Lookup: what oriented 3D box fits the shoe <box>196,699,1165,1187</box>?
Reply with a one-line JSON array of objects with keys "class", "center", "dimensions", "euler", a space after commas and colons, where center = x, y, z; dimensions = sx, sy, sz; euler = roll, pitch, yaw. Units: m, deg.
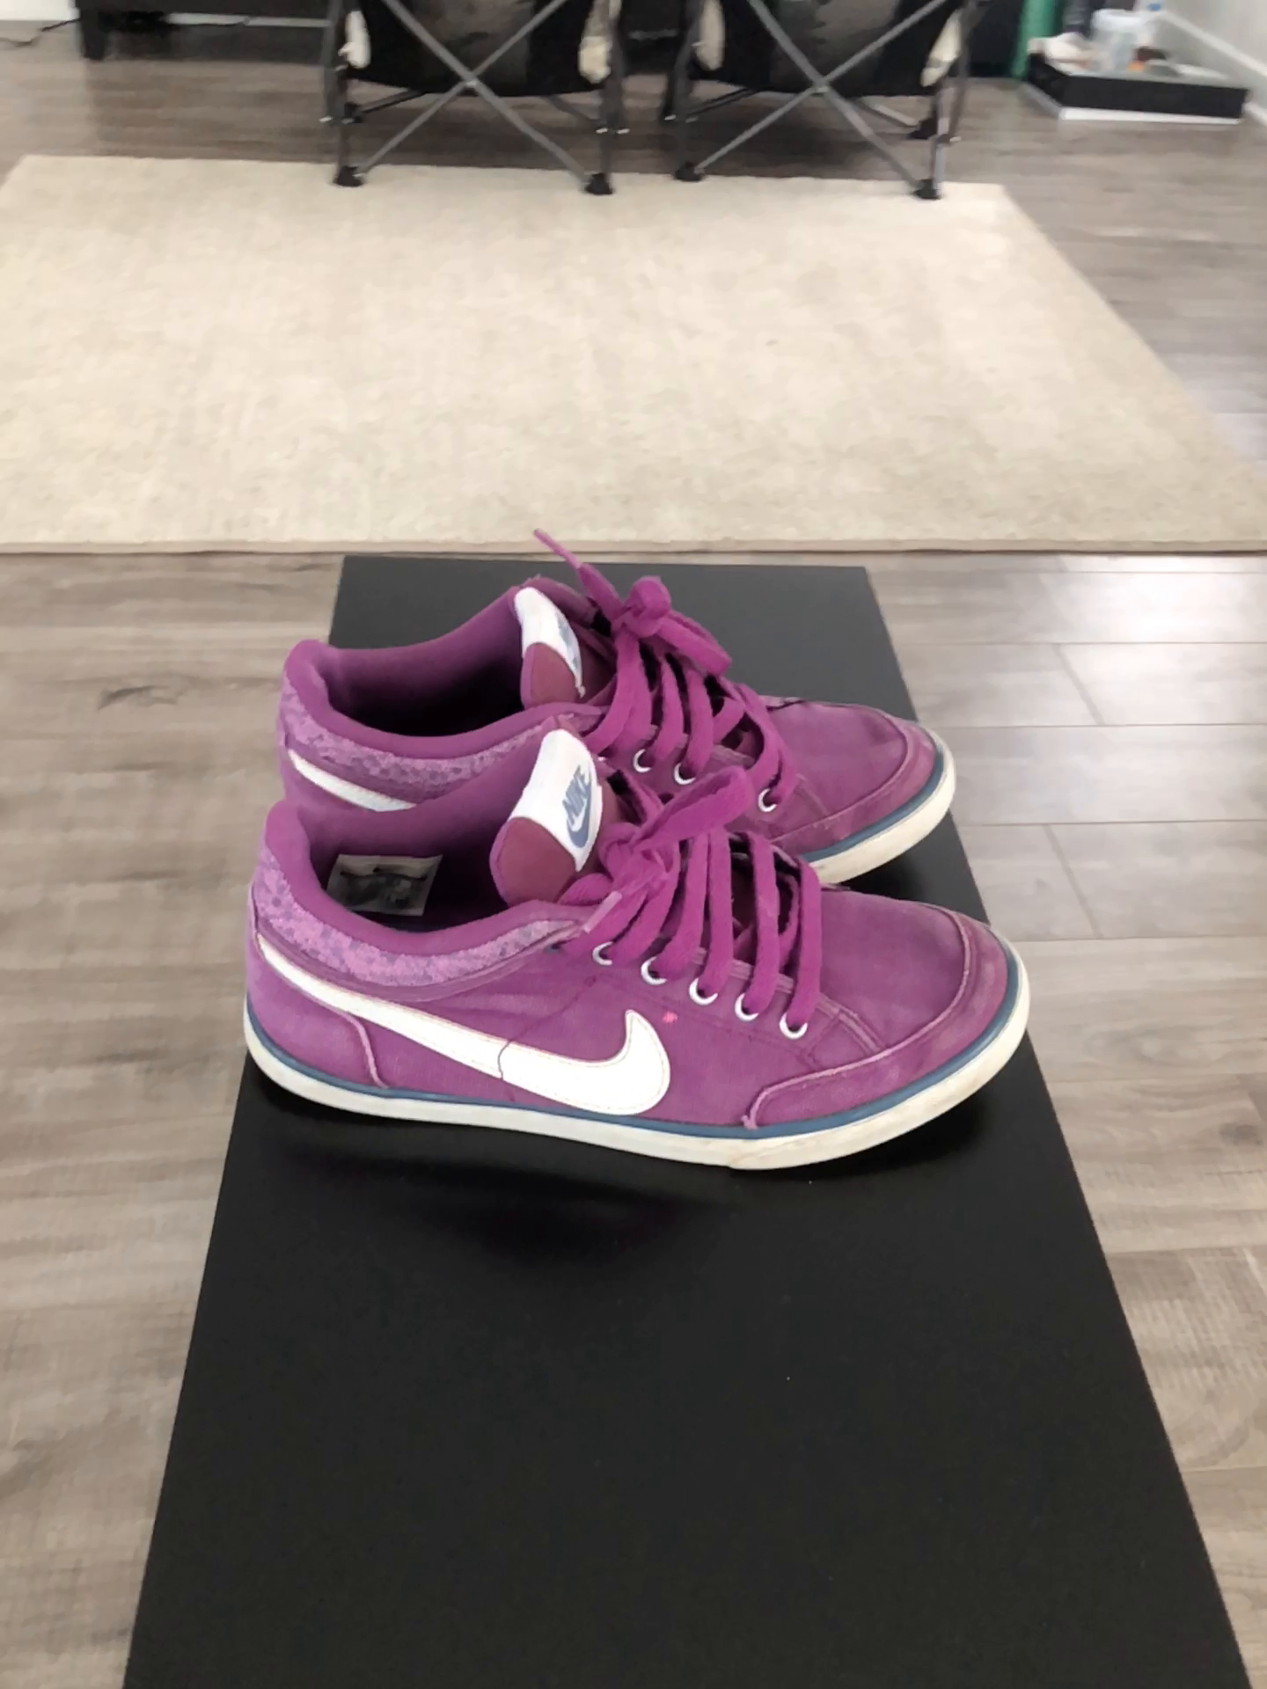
[{"class": "shoe", "center": [0.009, 0.027, 0.414], "dimensions": [0.240, 0.100, 0.100], "euler": [0, 41, -4]}]

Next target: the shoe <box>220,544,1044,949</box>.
[{"class": "shoe", "center": [-0.003, -0.035, 0.492], "dimensions": [0.250, 0.100, 0.100], "euler": [0, 41, -4]}]
